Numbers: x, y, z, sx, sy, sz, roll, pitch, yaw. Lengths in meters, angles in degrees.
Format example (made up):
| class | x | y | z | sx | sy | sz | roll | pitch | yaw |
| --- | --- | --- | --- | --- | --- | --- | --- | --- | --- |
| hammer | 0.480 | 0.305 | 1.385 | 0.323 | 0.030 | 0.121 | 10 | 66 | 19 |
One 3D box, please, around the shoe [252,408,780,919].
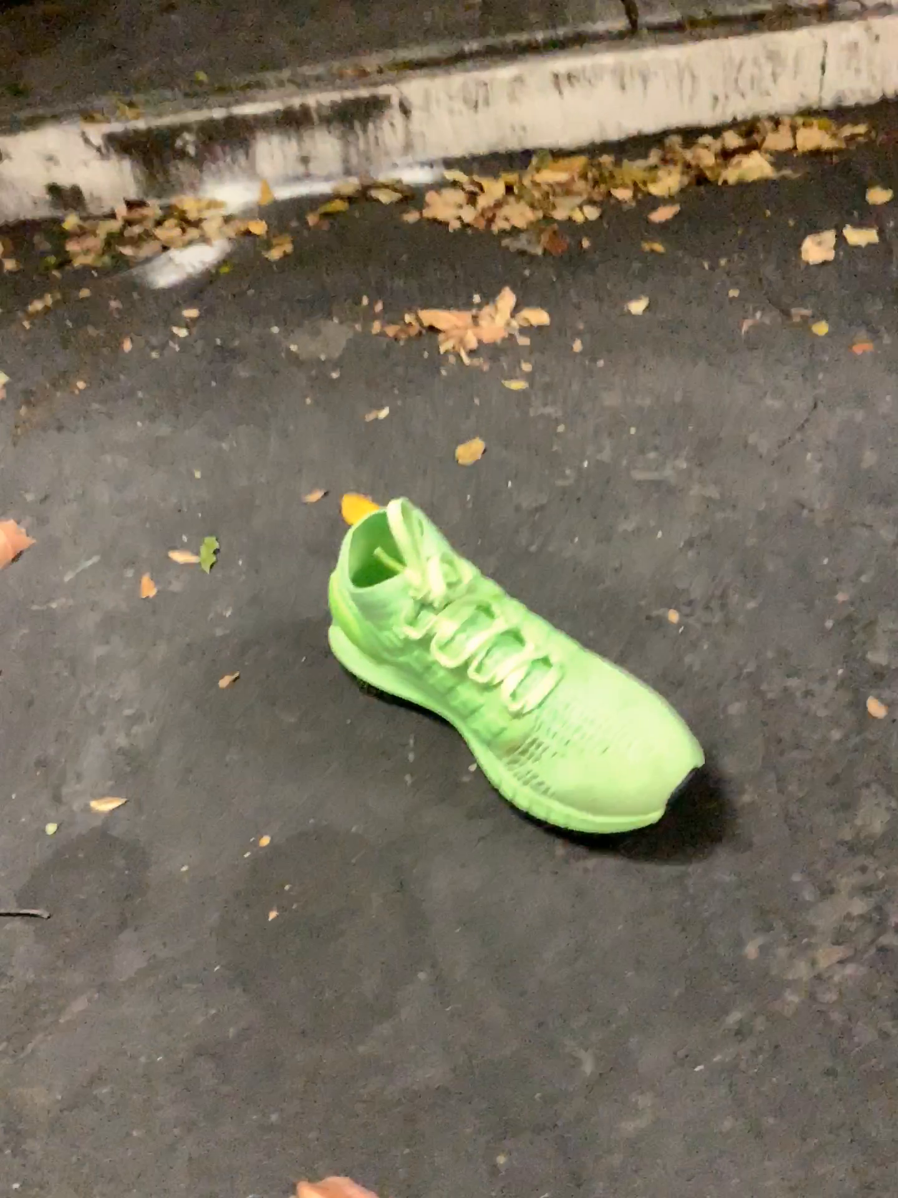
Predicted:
| class | x | y | z | sx | sy | sz | roll | pitch | yaw |
| --- | --- | --- | --- | --- | --- | --- | --- | --- | --- |
| shoe | 0.027 | 0.017 | 0.626 | 0.130 | 0.150 | 0.320 | -30 | 41 | -25 |
